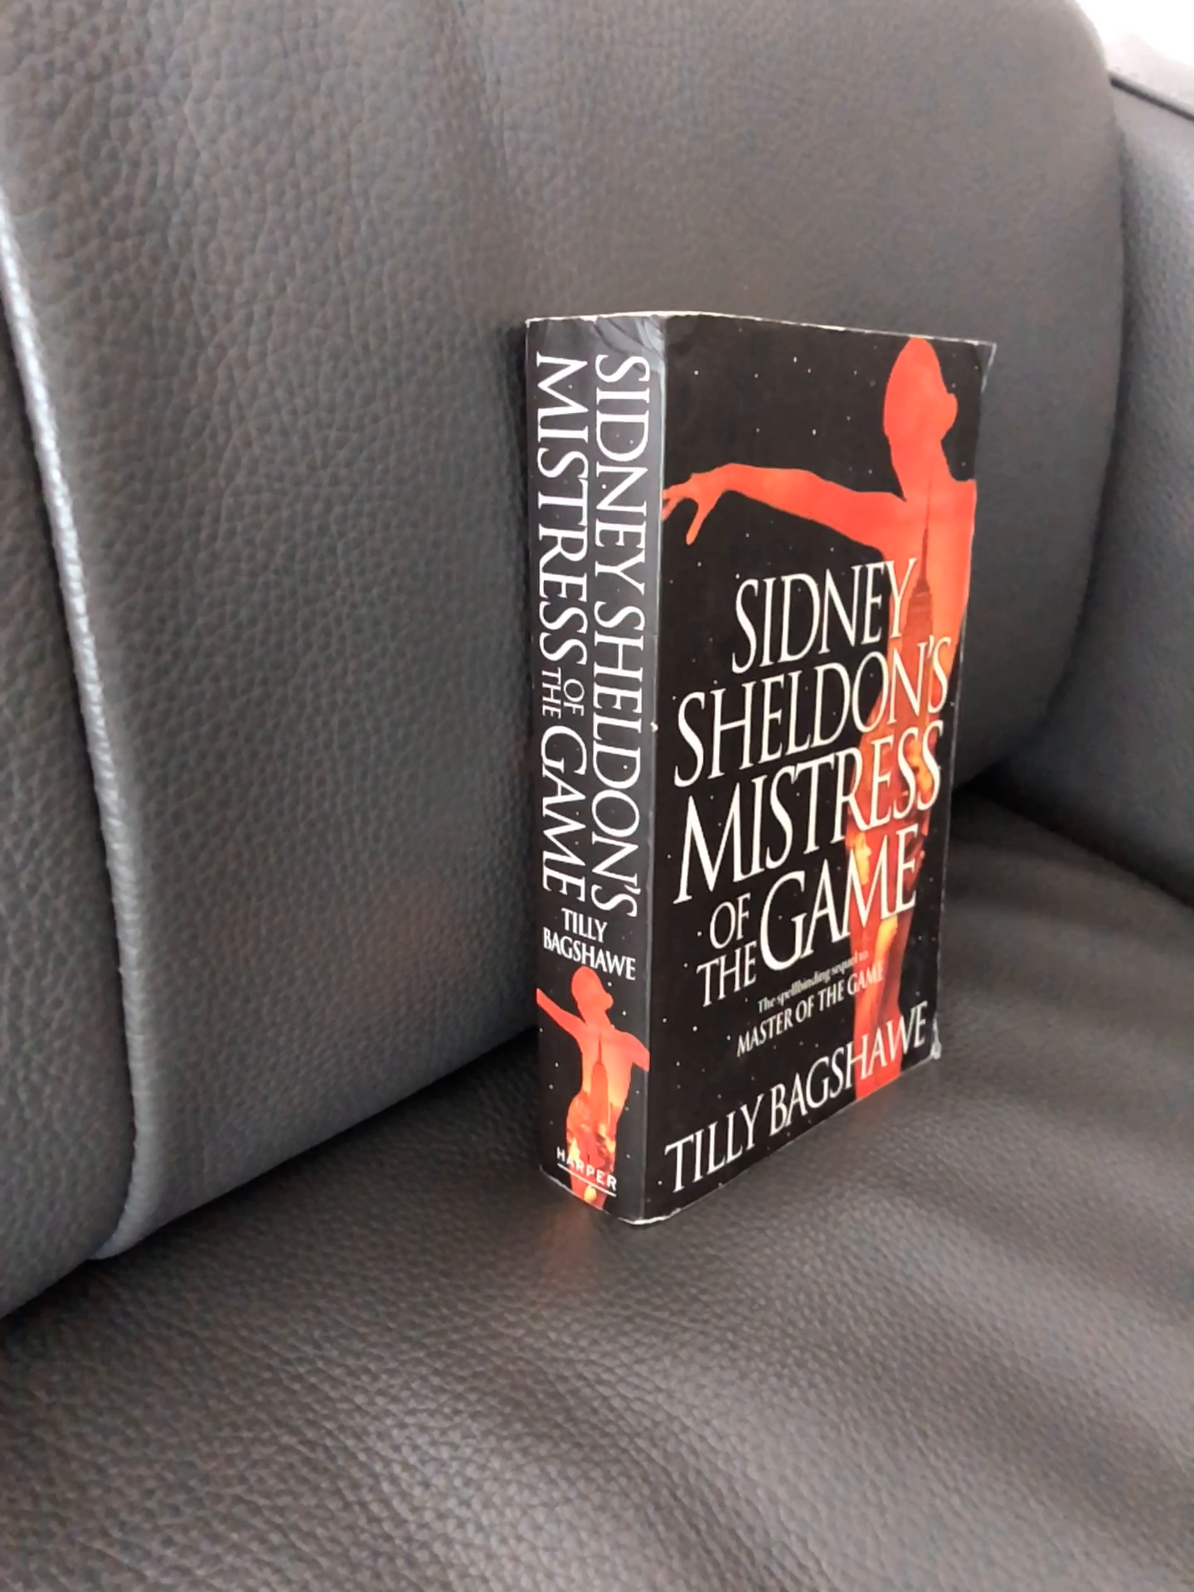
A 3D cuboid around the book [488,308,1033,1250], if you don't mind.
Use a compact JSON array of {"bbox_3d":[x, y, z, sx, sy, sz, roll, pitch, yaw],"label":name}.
[{"bbox_3d":[0.036,-0.011,0.297,0.119,0.179,0.046,-16,25,-43],"label":"book"}]
